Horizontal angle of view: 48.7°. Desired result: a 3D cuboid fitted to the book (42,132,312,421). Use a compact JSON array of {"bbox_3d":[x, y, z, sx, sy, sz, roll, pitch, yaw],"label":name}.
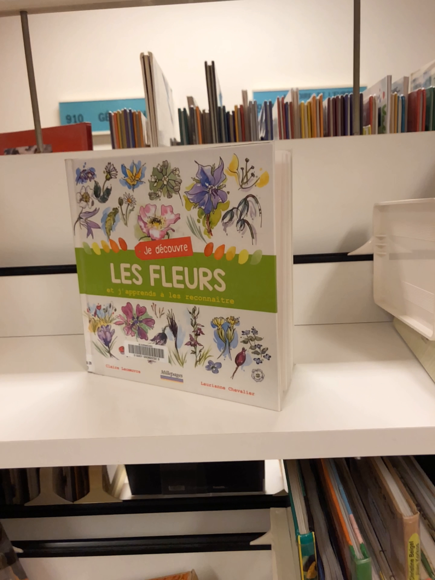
[{"bbox_3d":[-0.029,-0.018,0.439,0.208,0.215,0.104,2,12,22],"label":"book"}]
